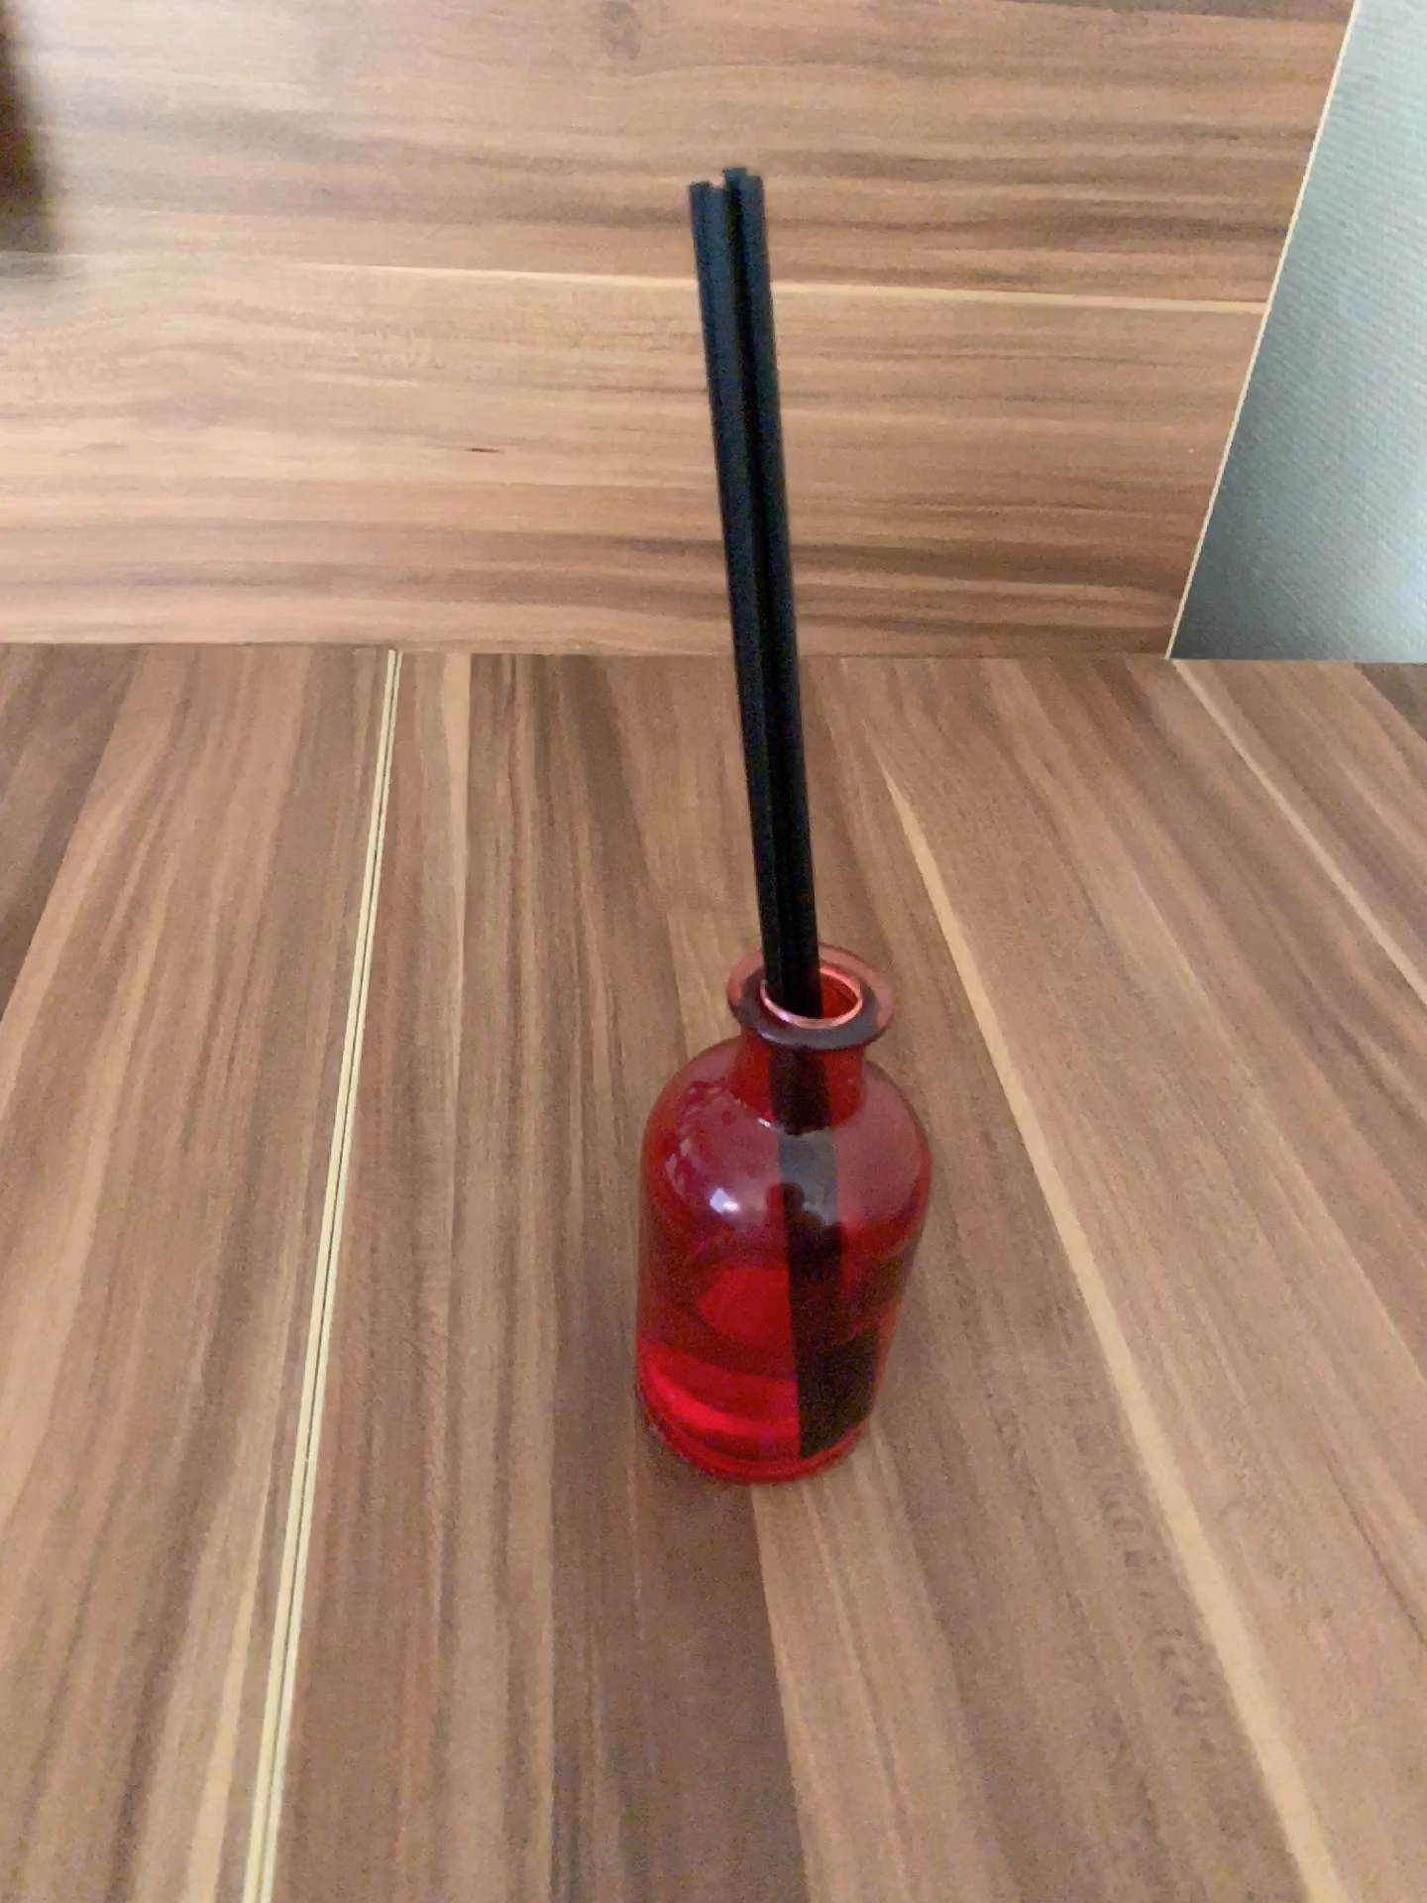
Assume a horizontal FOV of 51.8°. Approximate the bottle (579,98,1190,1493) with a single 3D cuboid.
[{"bbox_3d":[0.010,0.001,0.244,0.060,0.239,0.050,2,39,-4],"label":"bottle"}]
